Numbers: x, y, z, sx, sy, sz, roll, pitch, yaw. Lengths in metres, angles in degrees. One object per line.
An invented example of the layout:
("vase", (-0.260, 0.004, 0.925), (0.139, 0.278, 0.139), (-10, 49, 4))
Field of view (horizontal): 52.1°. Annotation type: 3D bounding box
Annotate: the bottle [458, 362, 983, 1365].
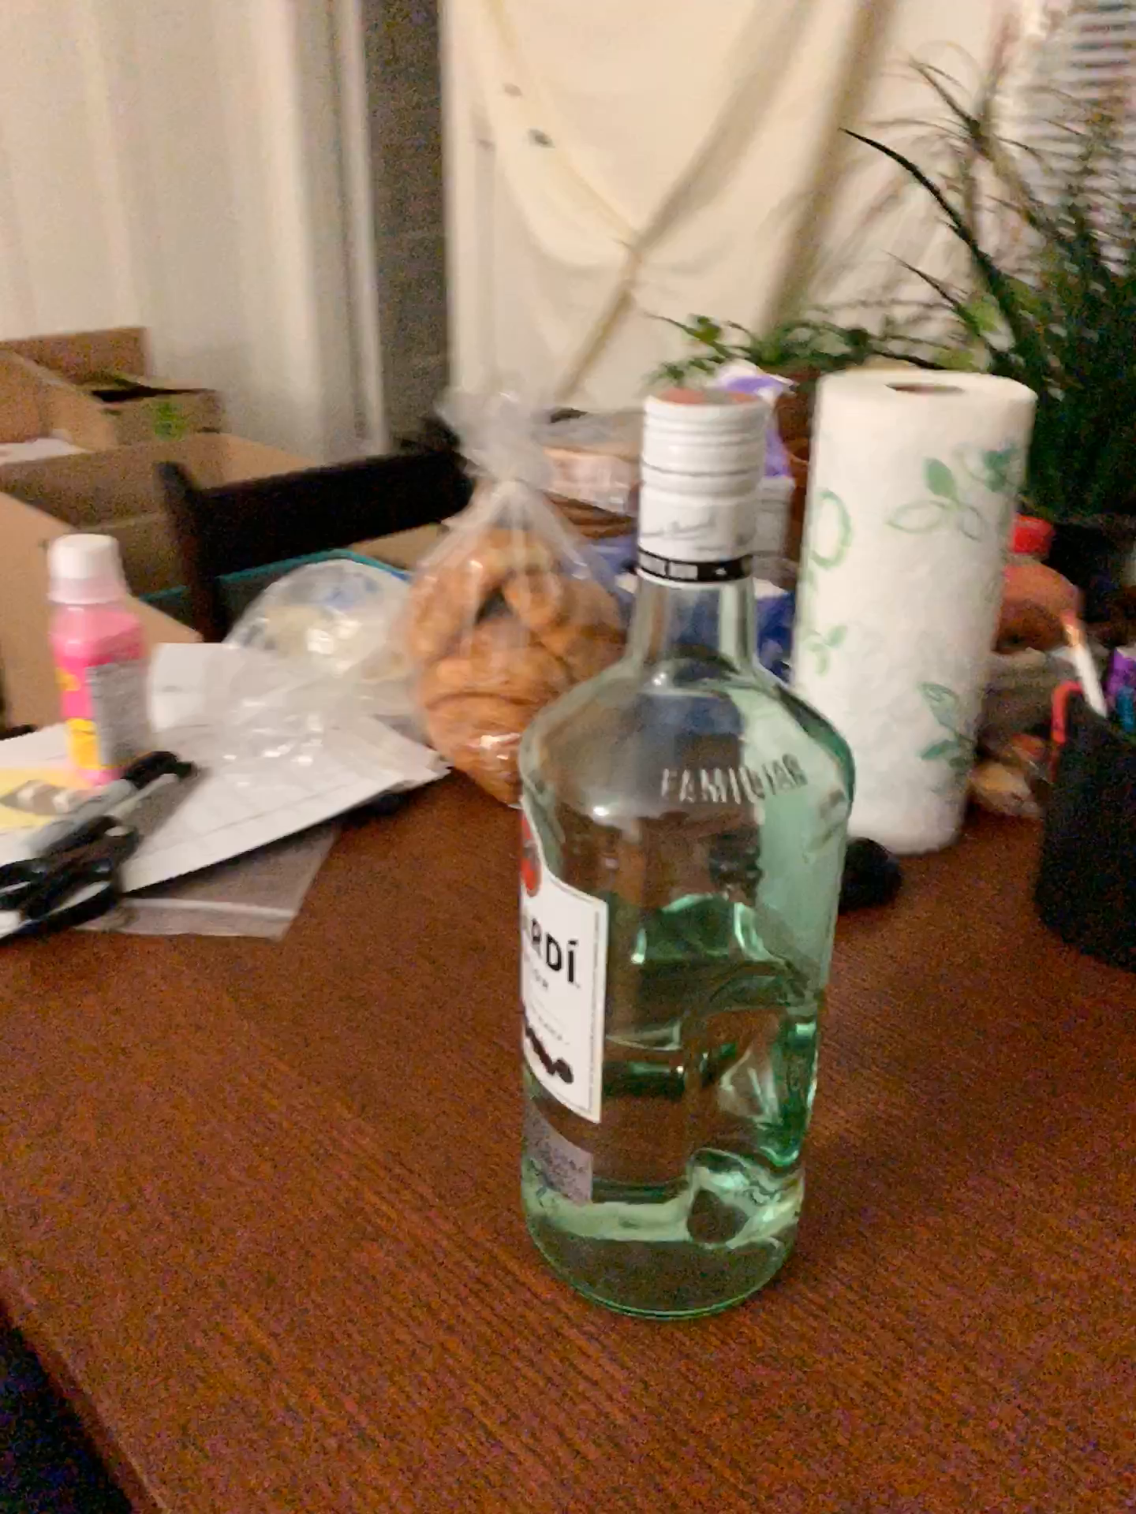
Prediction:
("bottle", (0.034, 0.041, 0.414), (0.120, 0.328, 0.121), (1, 26, 0))
